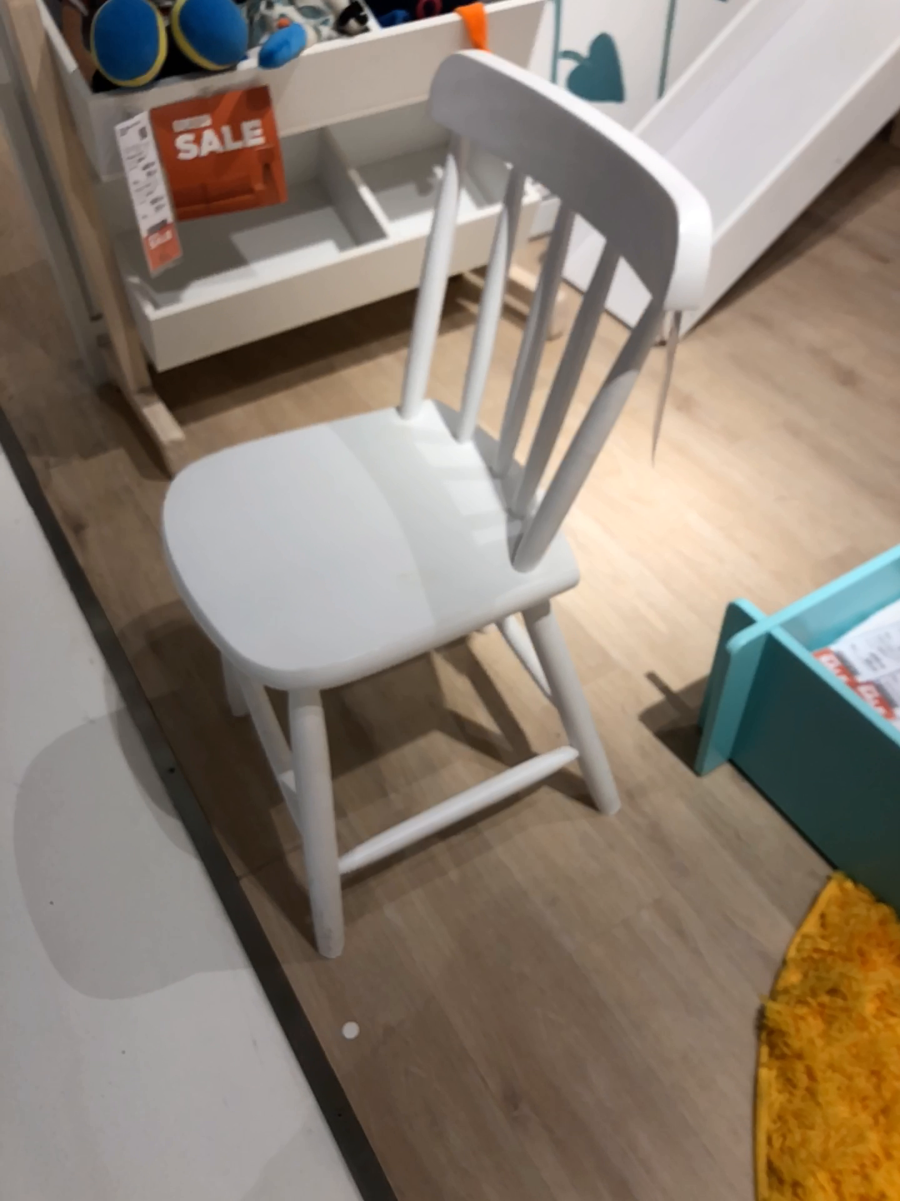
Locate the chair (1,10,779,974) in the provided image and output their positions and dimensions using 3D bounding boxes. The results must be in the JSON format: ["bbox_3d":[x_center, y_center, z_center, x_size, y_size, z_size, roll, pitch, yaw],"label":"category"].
[{"bbox_3d":[-0.062,-0.074,0.999,0.431,0.755,0.443,-20,49,-16],"label":"chair"}]
